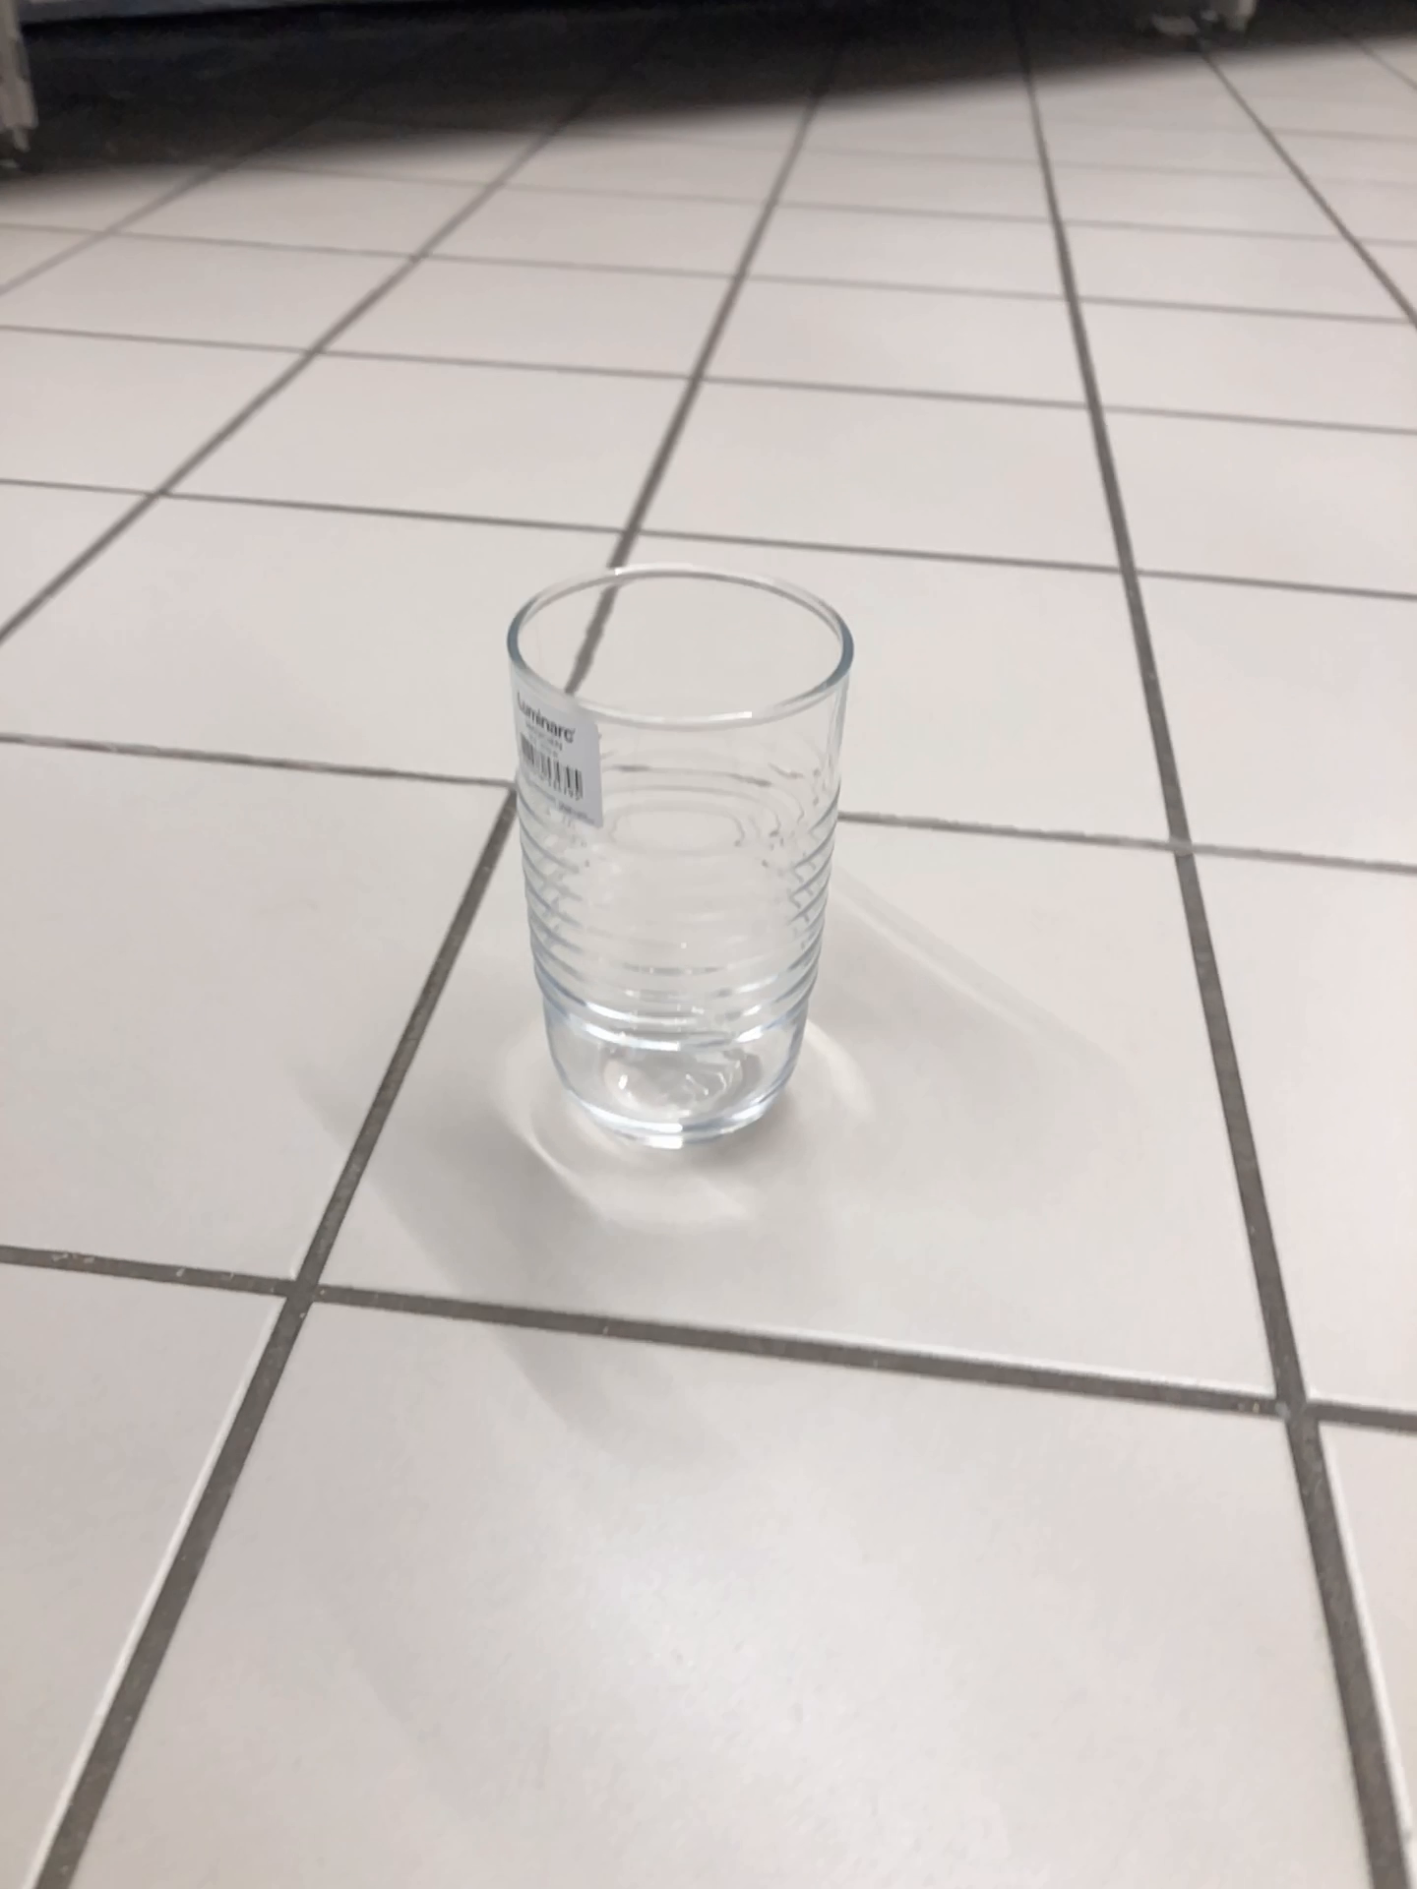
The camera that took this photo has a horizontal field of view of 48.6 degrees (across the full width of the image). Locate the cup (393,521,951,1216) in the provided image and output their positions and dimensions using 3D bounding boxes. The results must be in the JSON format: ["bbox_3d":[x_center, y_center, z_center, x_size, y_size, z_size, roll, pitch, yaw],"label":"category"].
[{"bbox_3d":[-0.006,-0.018,0.331,0.079,0.104,0.077,1,37,-1],"label":"cup"}]
